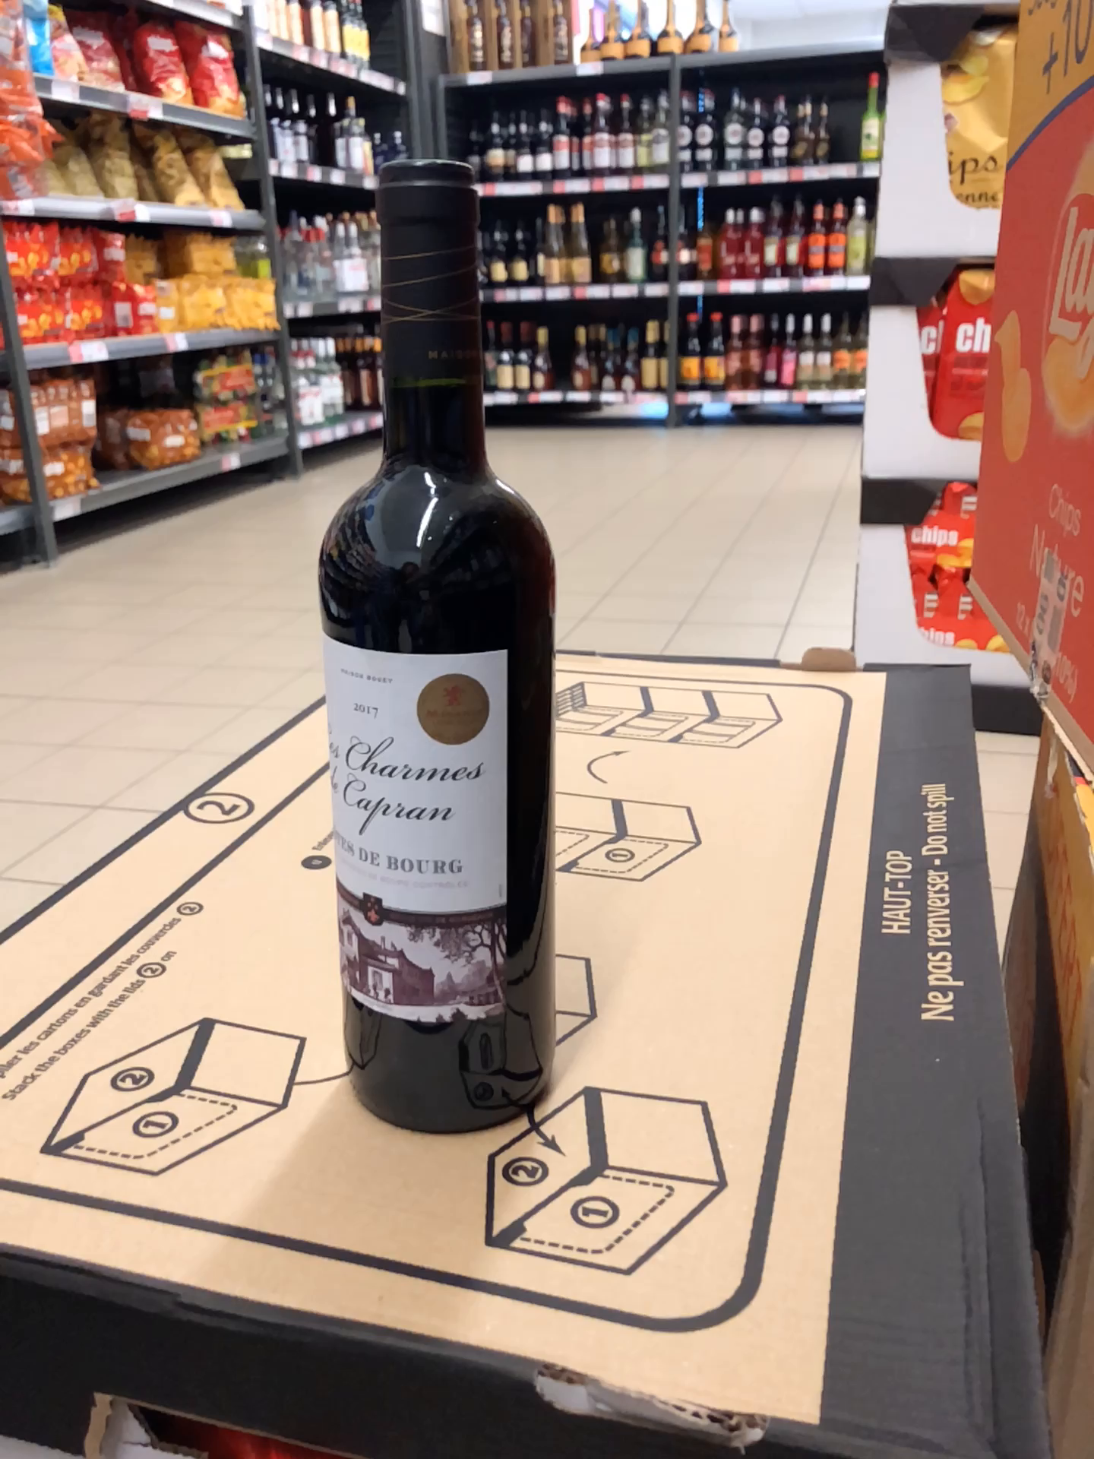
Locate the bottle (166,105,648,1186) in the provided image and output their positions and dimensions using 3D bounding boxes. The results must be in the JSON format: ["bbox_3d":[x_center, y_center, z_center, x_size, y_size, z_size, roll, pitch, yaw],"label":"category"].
[{"bbox_3d":[-0.030,-0.021,0.369,0.090,0.289,0.091,-2,19,1],"label":"bottle"}]
